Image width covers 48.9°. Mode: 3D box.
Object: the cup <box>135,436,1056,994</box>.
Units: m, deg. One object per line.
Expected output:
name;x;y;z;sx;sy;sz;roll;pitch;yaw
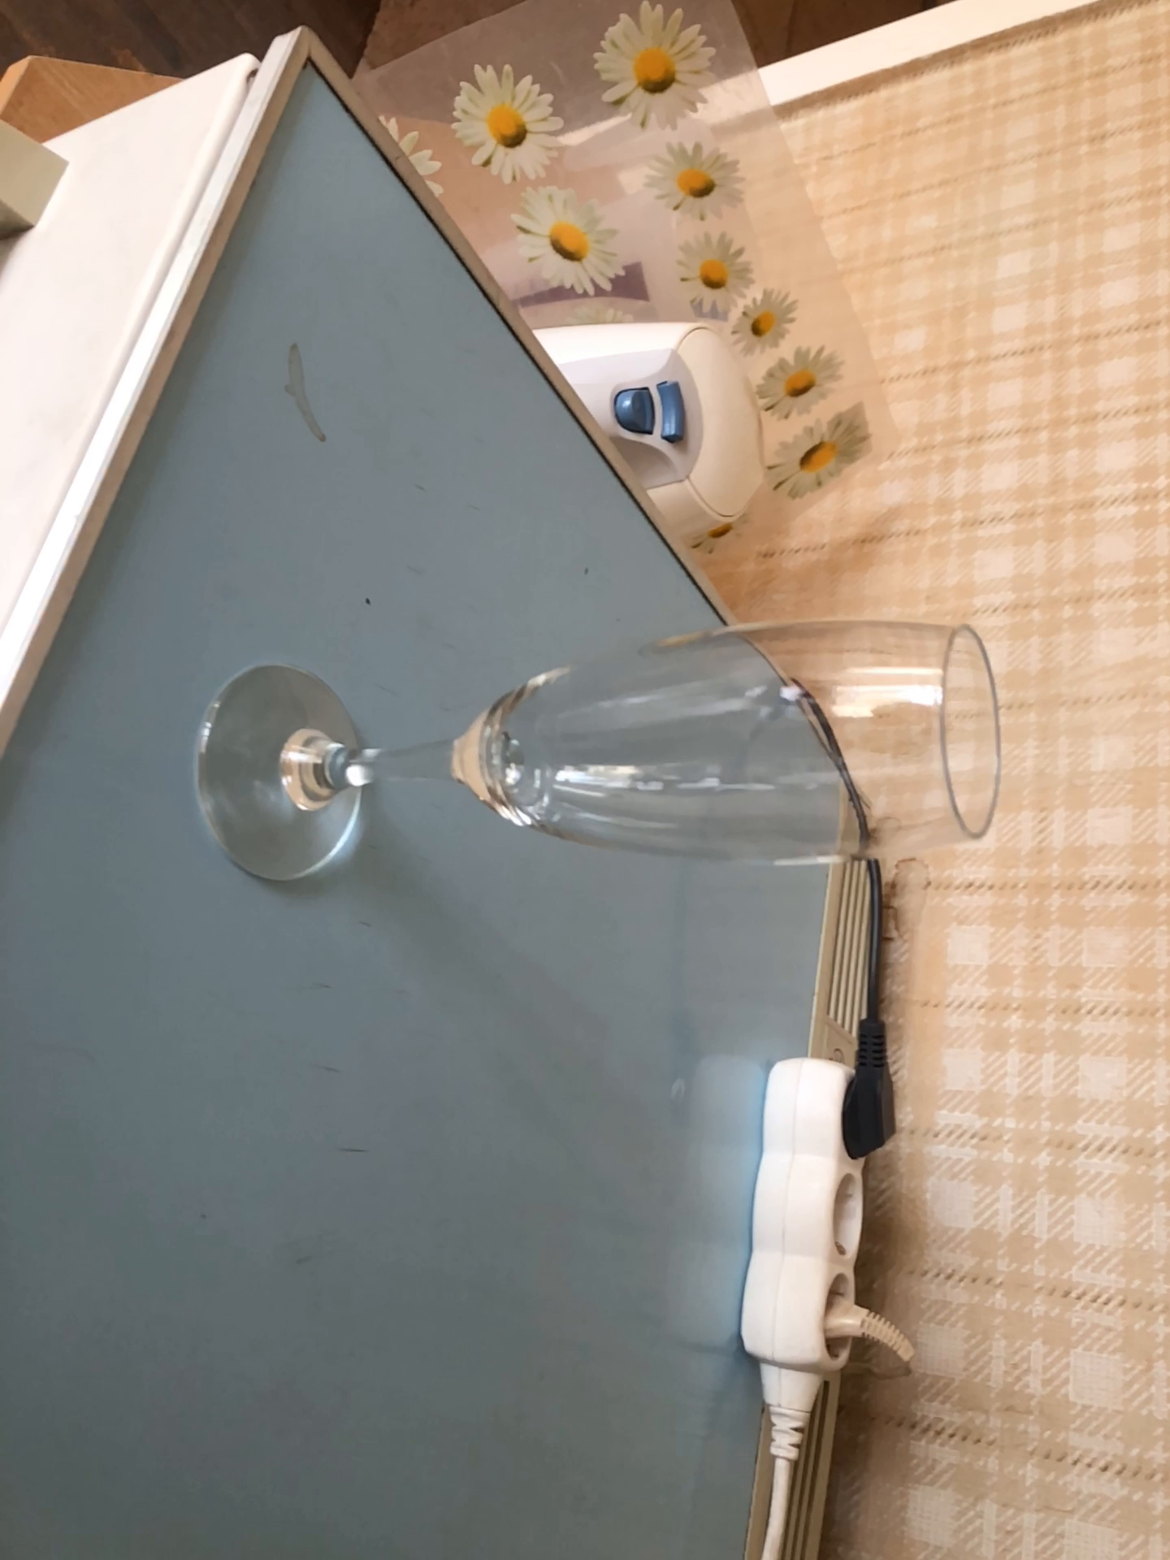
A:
cup;0.003;-0.004;0.318;0.090;0.199;0.090;10;79;-59
